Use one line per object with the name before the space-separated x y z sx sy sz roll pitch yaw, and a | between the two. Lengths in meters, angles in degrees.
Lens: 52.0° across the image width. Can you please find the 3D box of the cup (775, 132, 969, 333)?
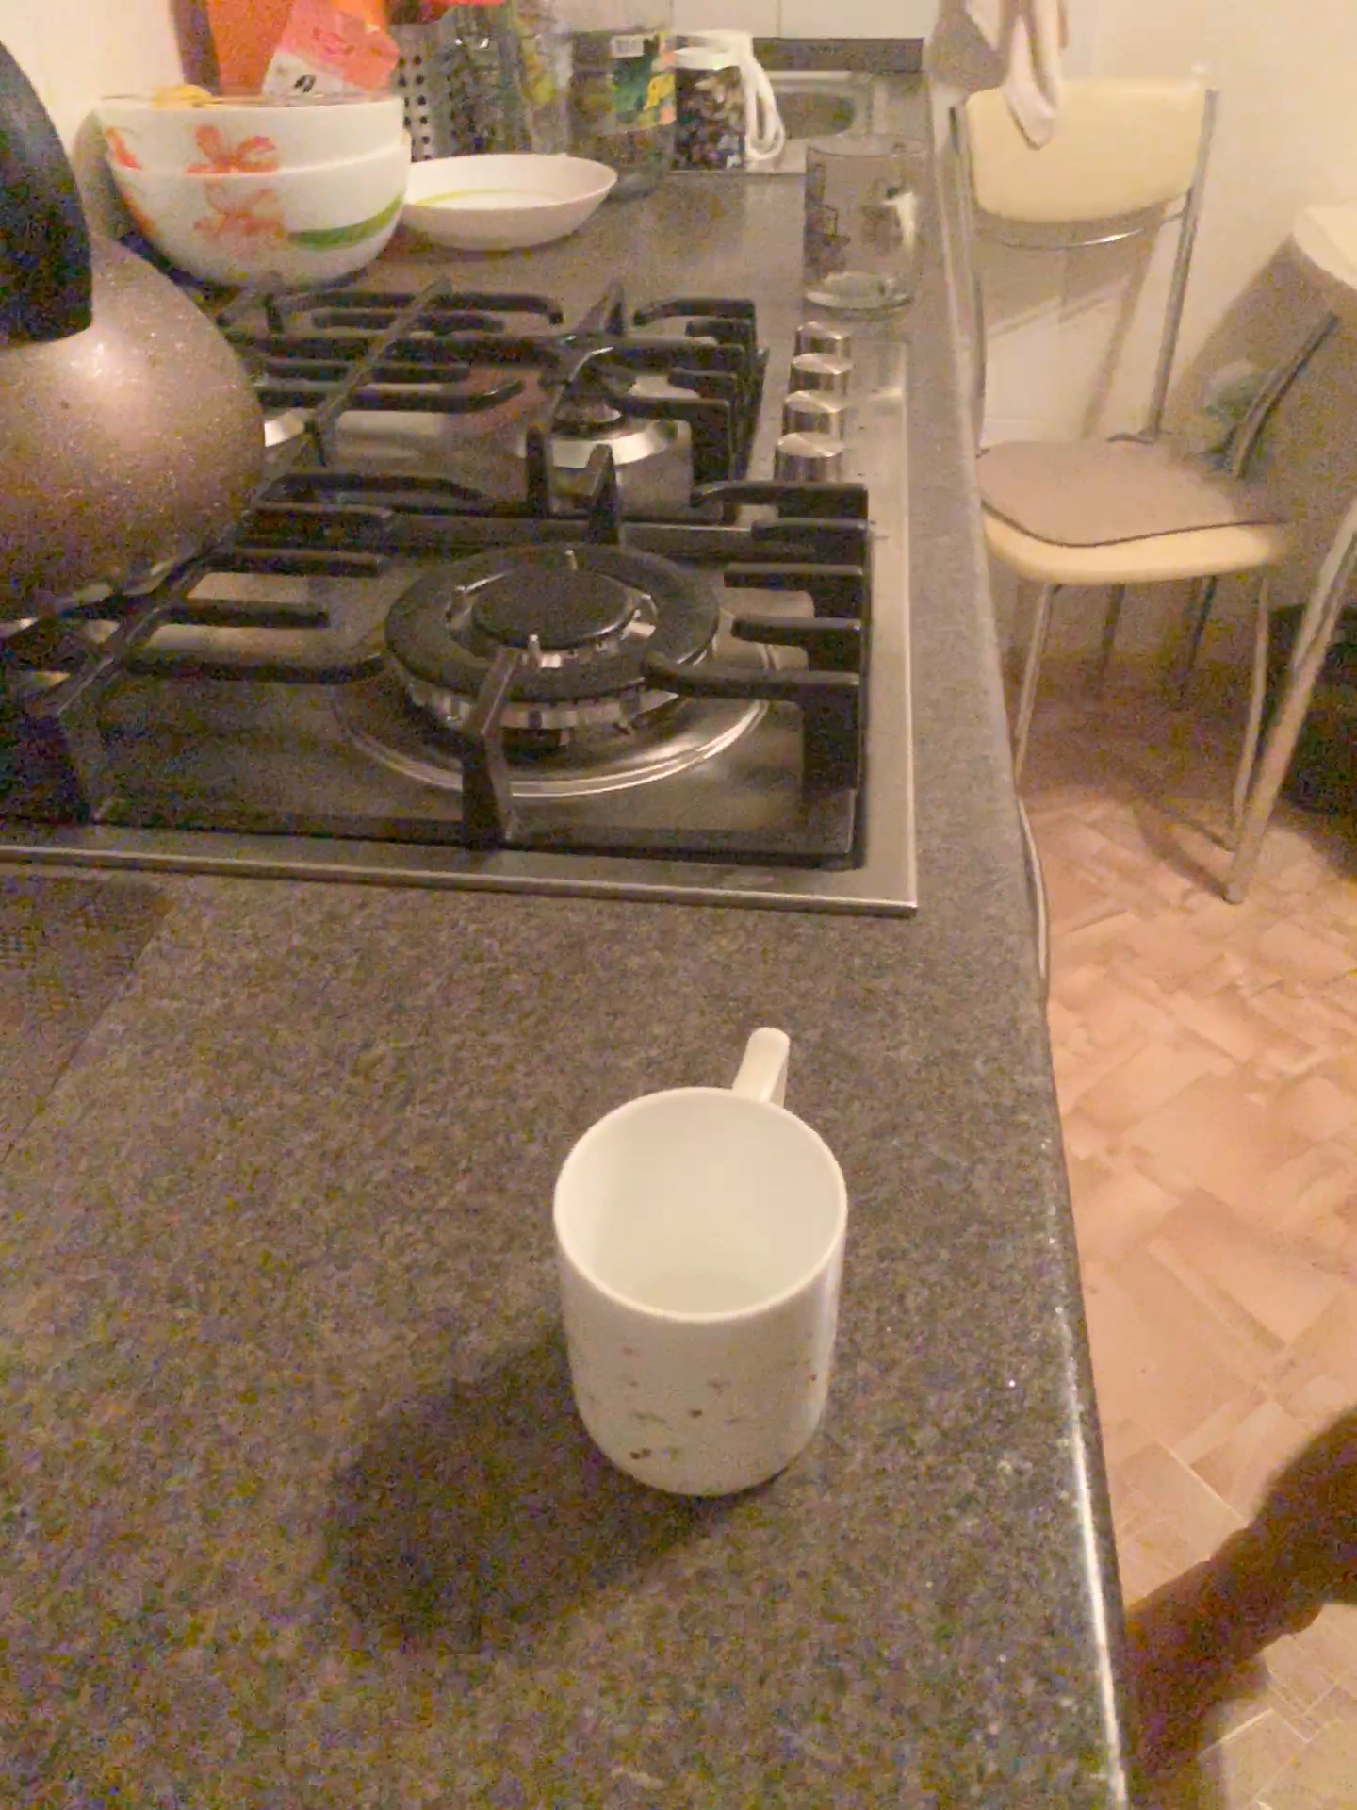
cup | 0.108 -0.389 0.802 0.064 0.081 0.100 -16 40 -18

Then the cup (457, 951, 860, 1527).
cup | 0.001 0.064 0.284 0.064 0.061 0.090 4 38 7
